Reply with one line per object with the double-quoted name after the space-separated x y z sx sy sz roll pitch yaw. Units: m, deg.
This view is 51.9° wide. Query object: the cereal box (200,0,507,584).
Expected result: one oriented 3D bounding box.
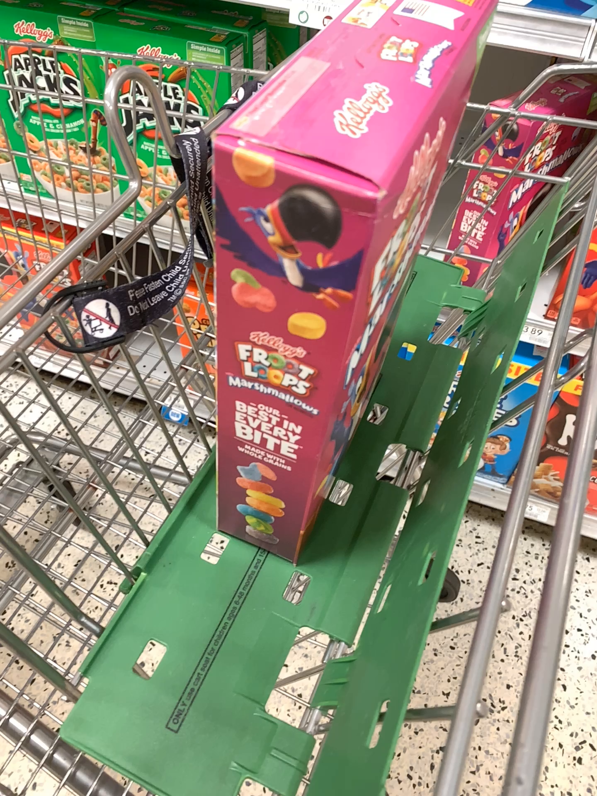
0.021 -0.049 0.353 0.060 0.287 0.202 21 52 9 "cereal box"
